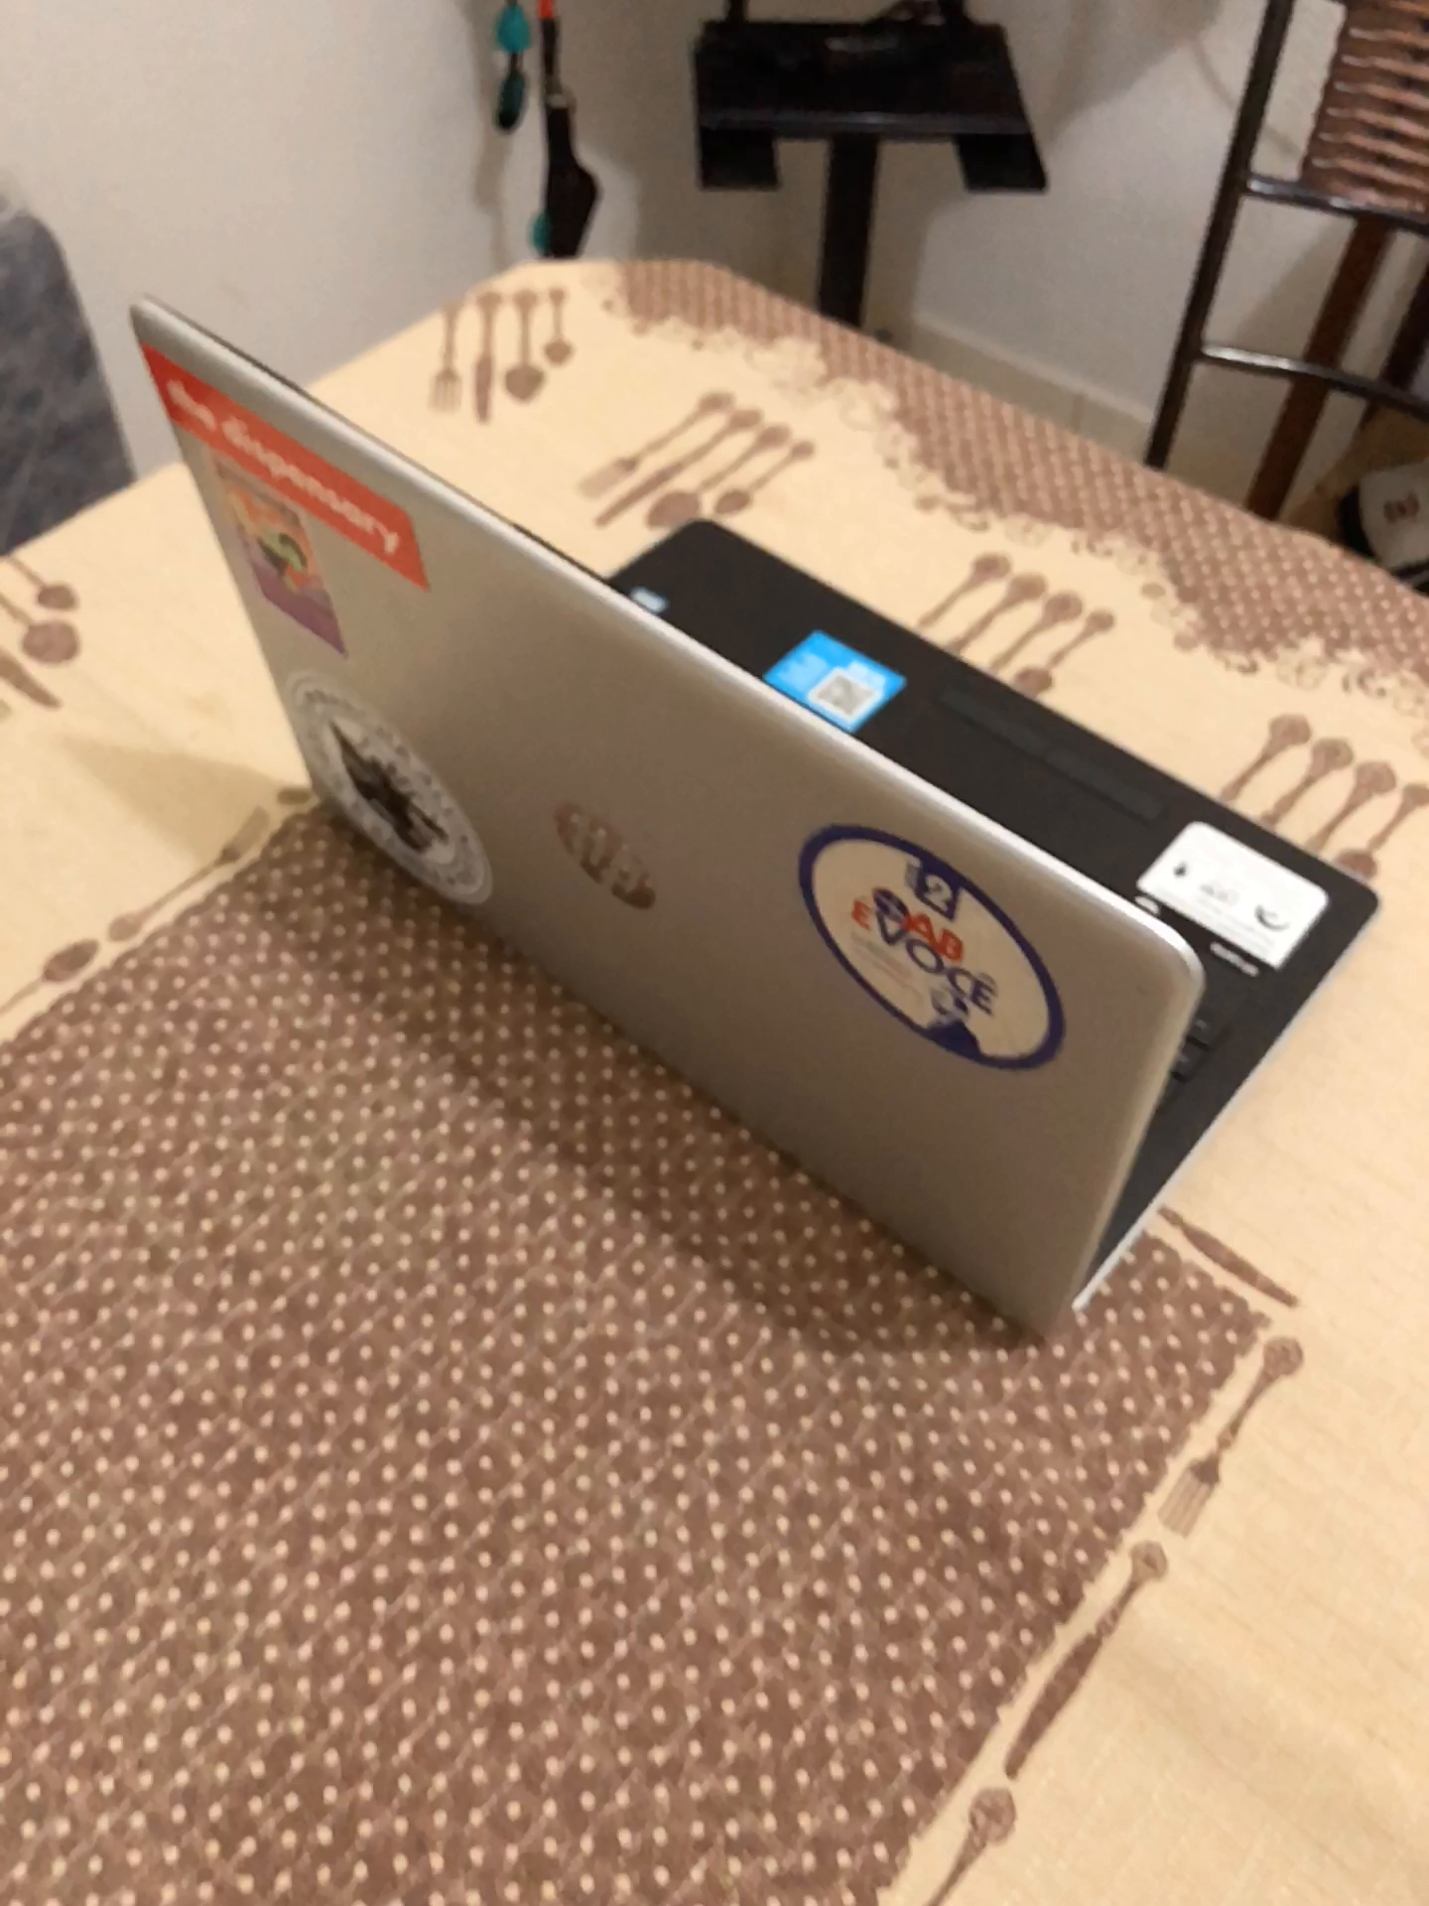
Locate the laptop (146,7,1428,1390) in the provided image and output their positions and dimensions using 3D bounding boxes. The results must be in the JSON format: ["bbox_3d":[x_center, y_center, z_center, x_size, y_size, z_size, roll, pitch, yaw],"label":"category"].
[{"bbox_3d":[0.051,-0.107,0.550,0.360,0.226,0.268,34,59,23],"label":"laptop"}]
